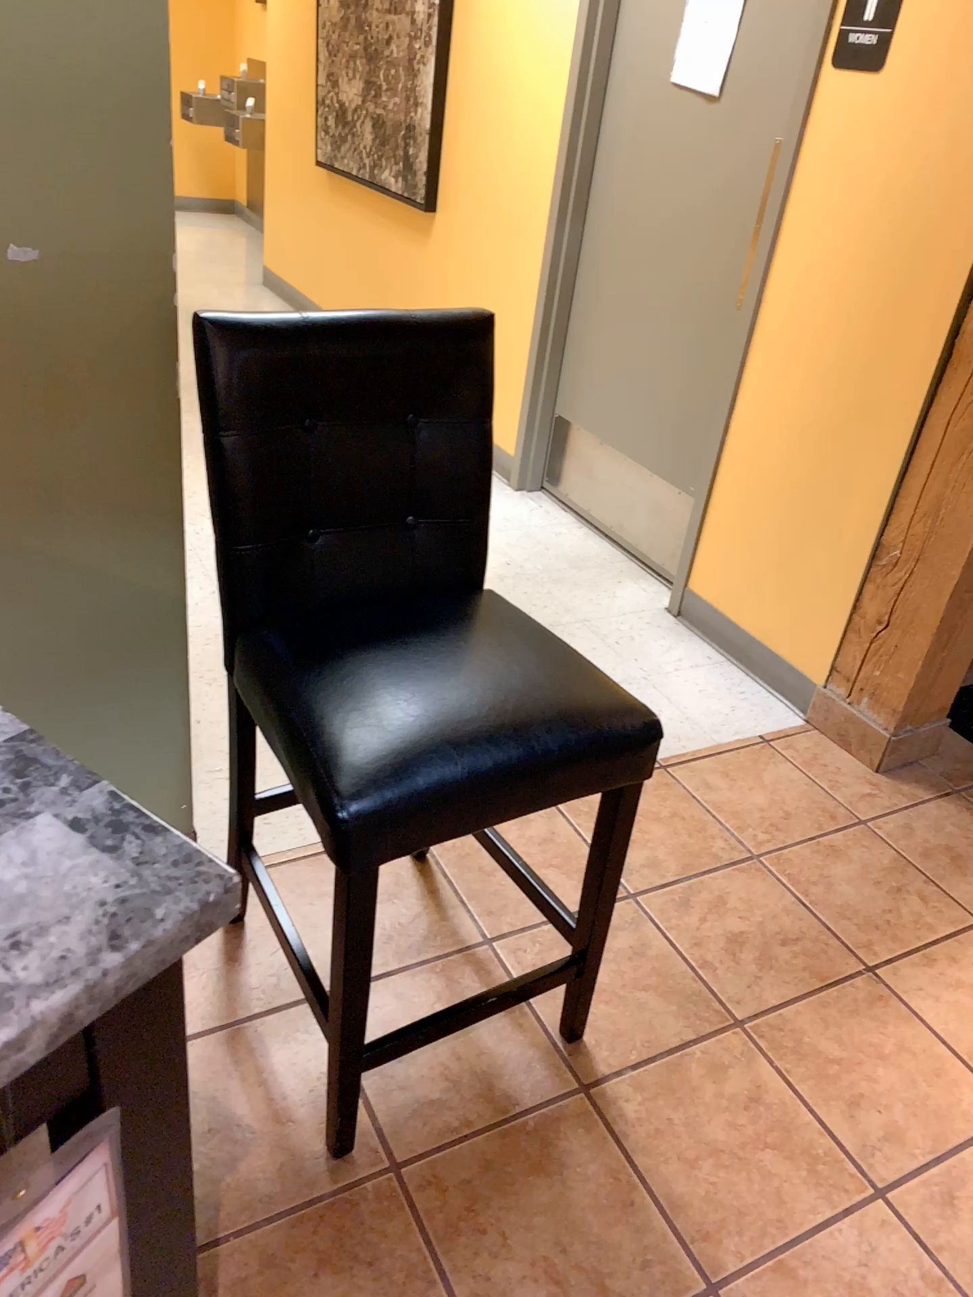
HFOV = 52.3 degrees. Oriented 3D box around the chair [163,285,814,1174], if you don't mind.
[{"bbox_3d":[-0.086,0.069,1.379,0.499,0.961,0.620,-12,36,-31],"label":"chair"}]
